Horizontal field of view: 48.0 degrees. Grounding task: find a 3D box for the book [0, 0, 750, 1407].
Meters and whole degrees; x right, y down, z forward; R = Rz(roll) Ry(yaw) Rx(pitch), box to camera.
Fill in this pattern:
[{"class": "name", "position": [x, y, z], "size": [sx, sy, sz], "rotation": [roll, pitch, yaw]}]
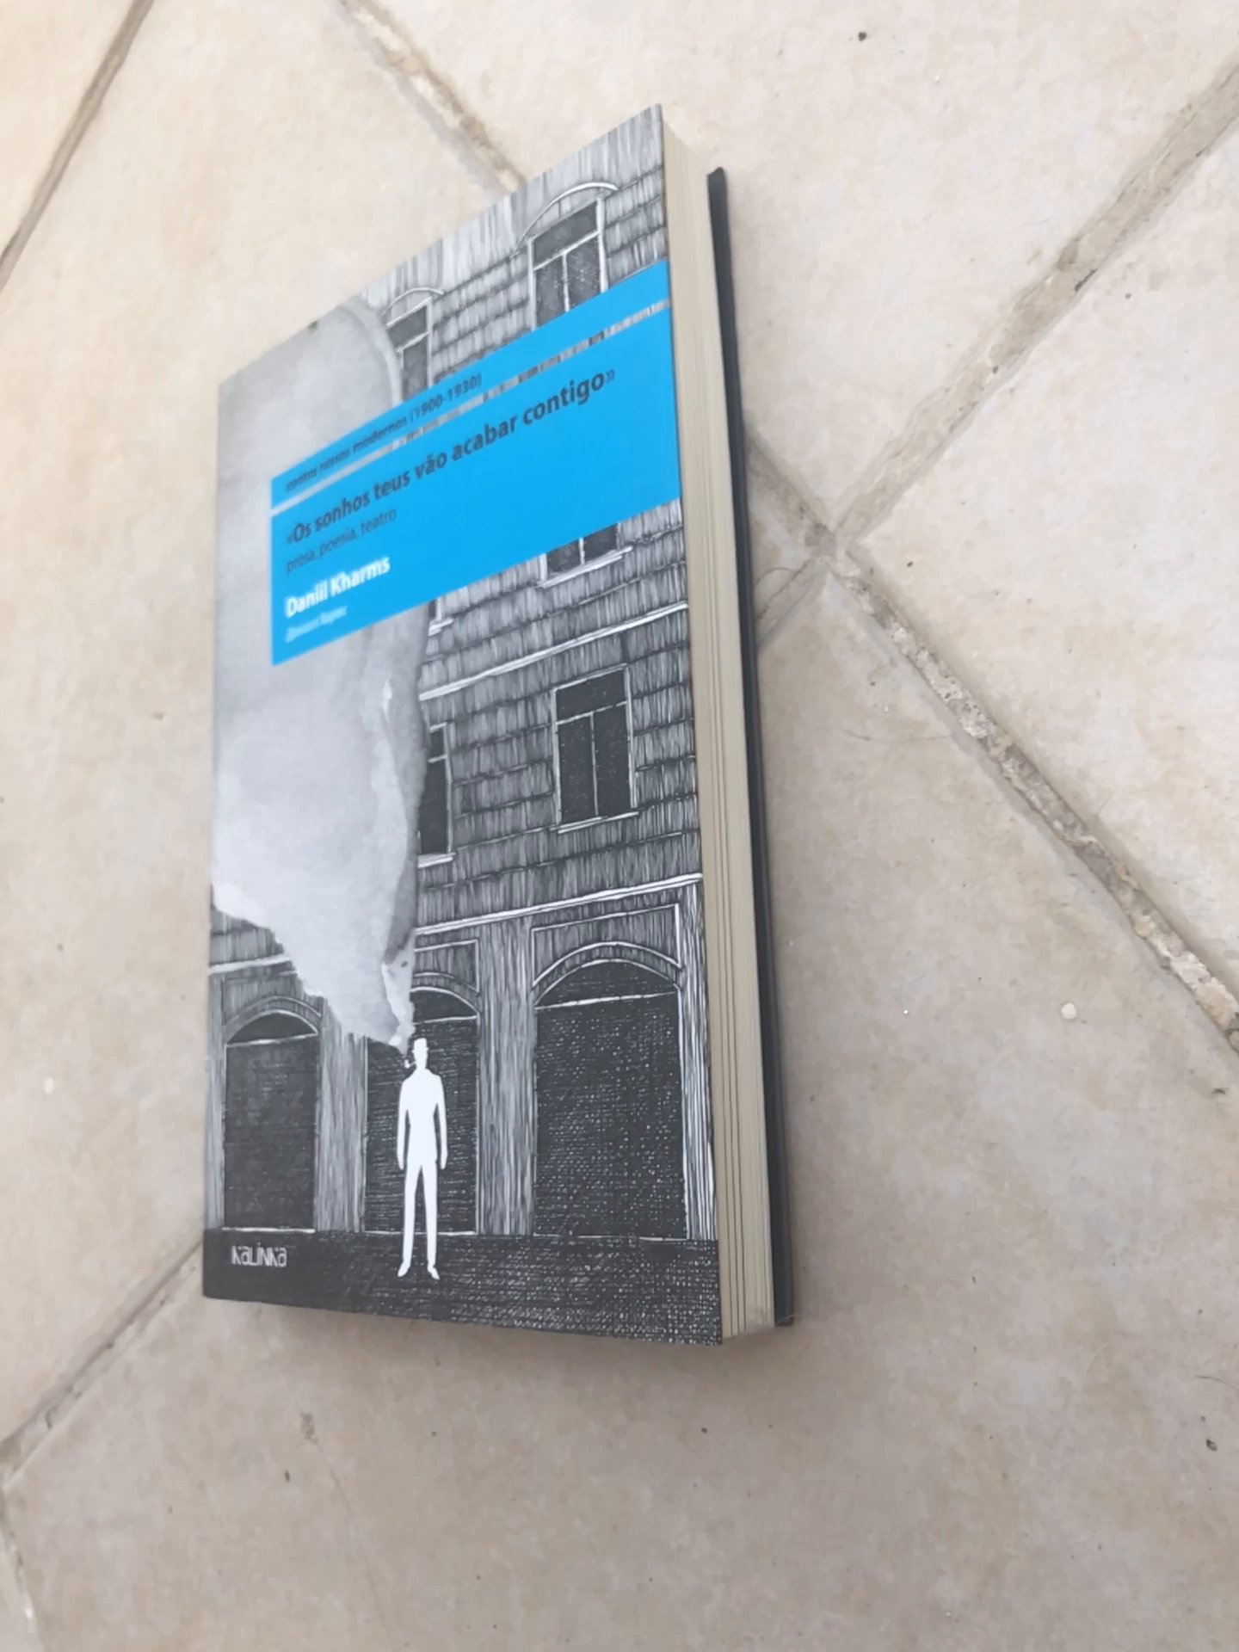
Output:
[{"class": "book", "position": [-0.046, -0.014, 0.207], "size": [0.121, 0.040, 0.170], "rotation": [-12, 74, 39]}]
